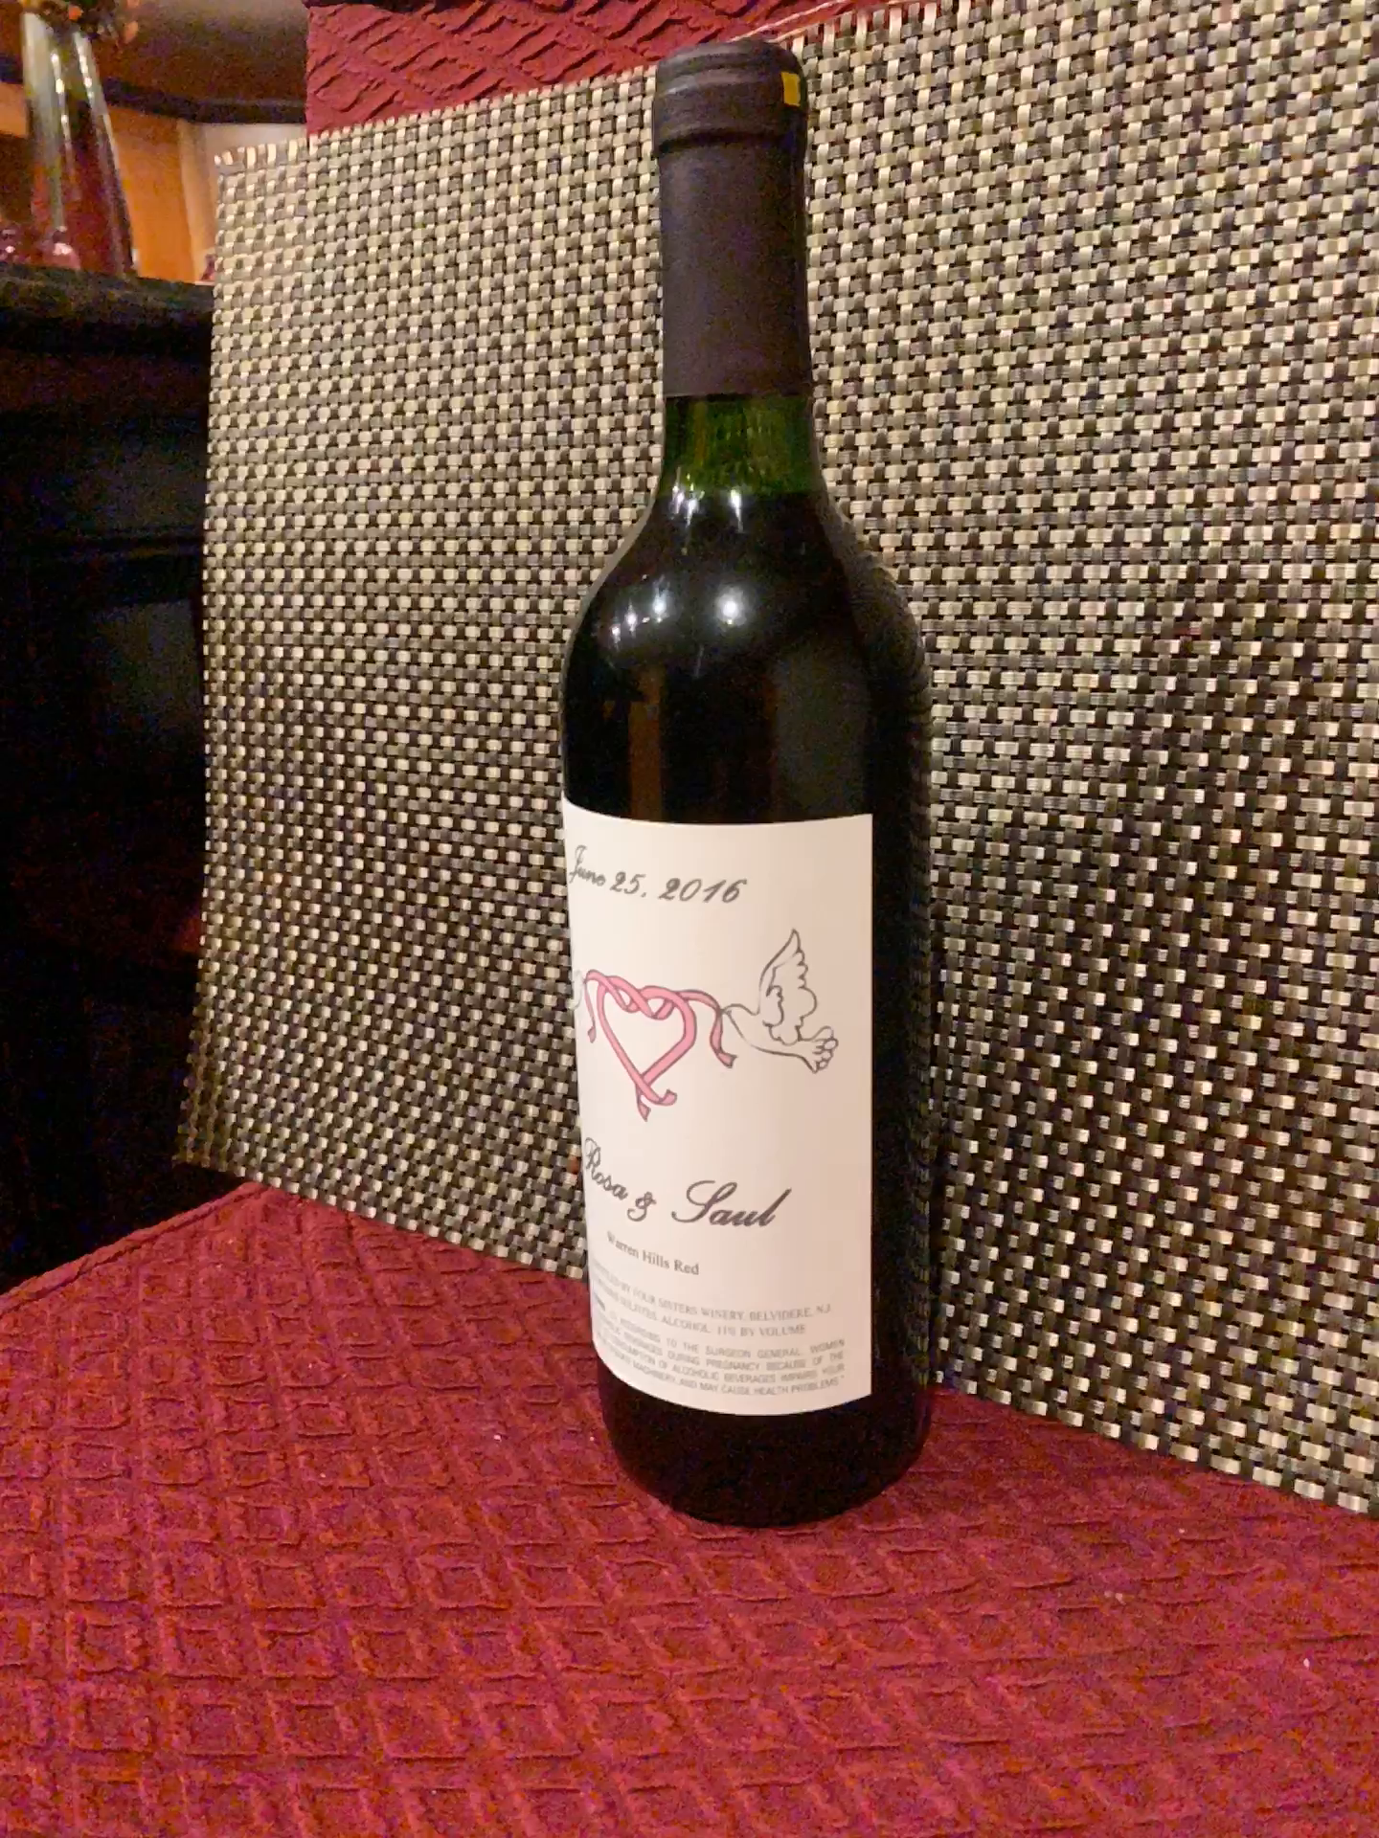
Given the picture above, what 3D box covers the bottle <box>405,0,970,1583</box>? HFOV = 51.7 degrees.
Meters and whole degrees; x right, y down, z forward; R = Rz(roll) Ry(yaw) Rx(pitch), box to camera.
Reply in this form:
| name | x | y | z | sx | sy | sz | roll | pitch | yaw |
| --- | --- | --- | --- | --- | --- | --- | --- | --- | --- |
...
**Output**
| name | x | y | z | sx | sy | sz | roll | pitch | yaw |
| --- | --- | --- | --- | --- | --- | --- | --- | --- | --- |
| bottle | 0.006 | -0.019 | 0.292 | 0.080 | 0.289 | 0.060 | 9 | 20 | 35 |
